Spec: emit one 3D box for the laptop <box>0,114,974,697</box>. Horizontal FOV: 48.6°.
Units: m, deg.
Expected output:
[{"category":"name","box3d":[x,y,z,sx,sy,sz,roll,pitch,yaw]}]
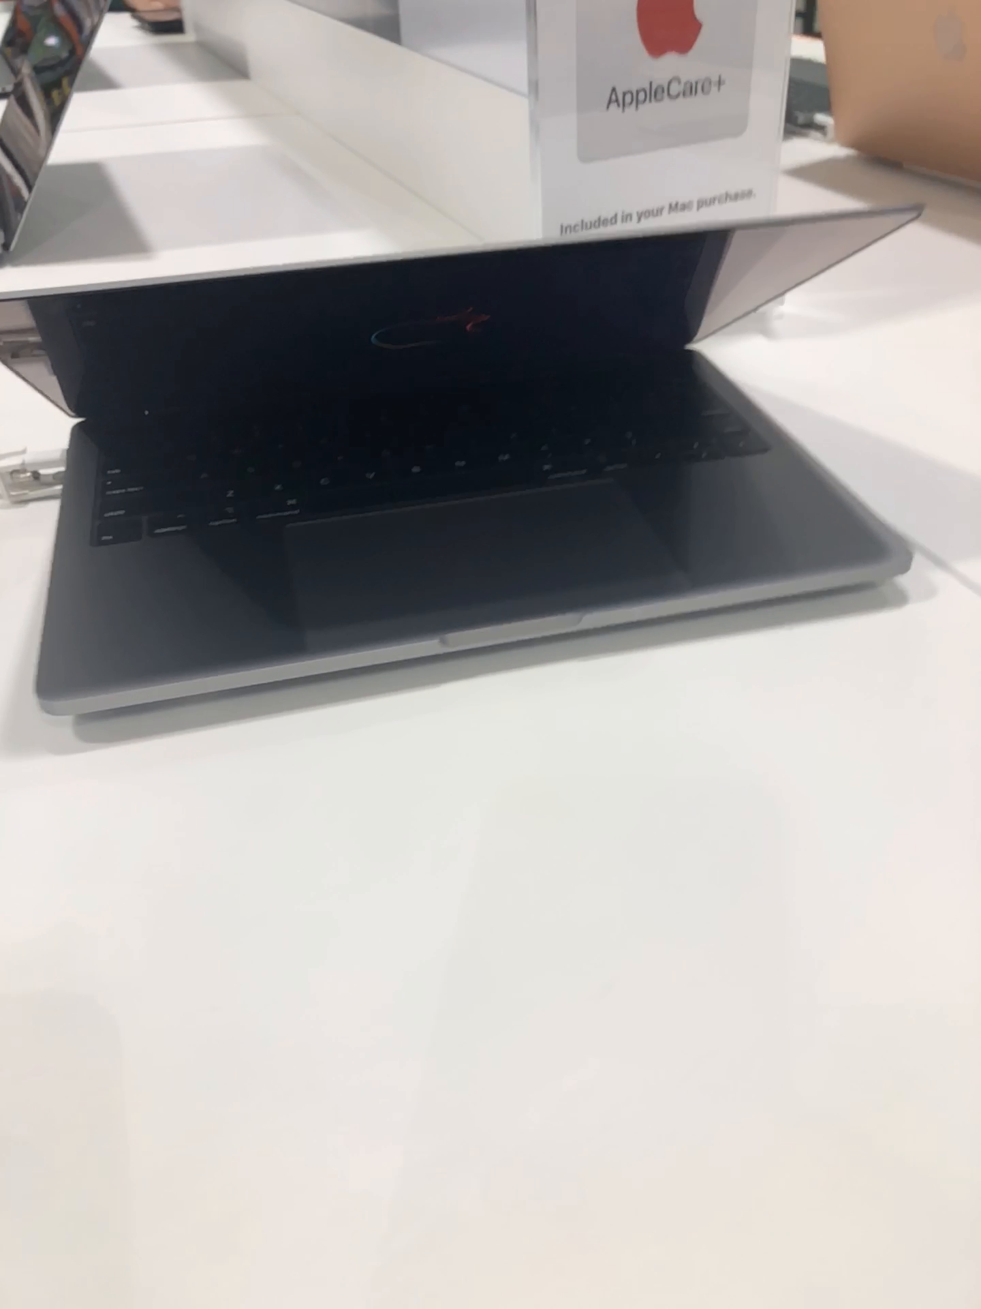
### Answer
[{"category":"laptop","box3d":[-0.019,-0.114,0.411,0.294,0.109,0.205,-9,38,-11]}]
